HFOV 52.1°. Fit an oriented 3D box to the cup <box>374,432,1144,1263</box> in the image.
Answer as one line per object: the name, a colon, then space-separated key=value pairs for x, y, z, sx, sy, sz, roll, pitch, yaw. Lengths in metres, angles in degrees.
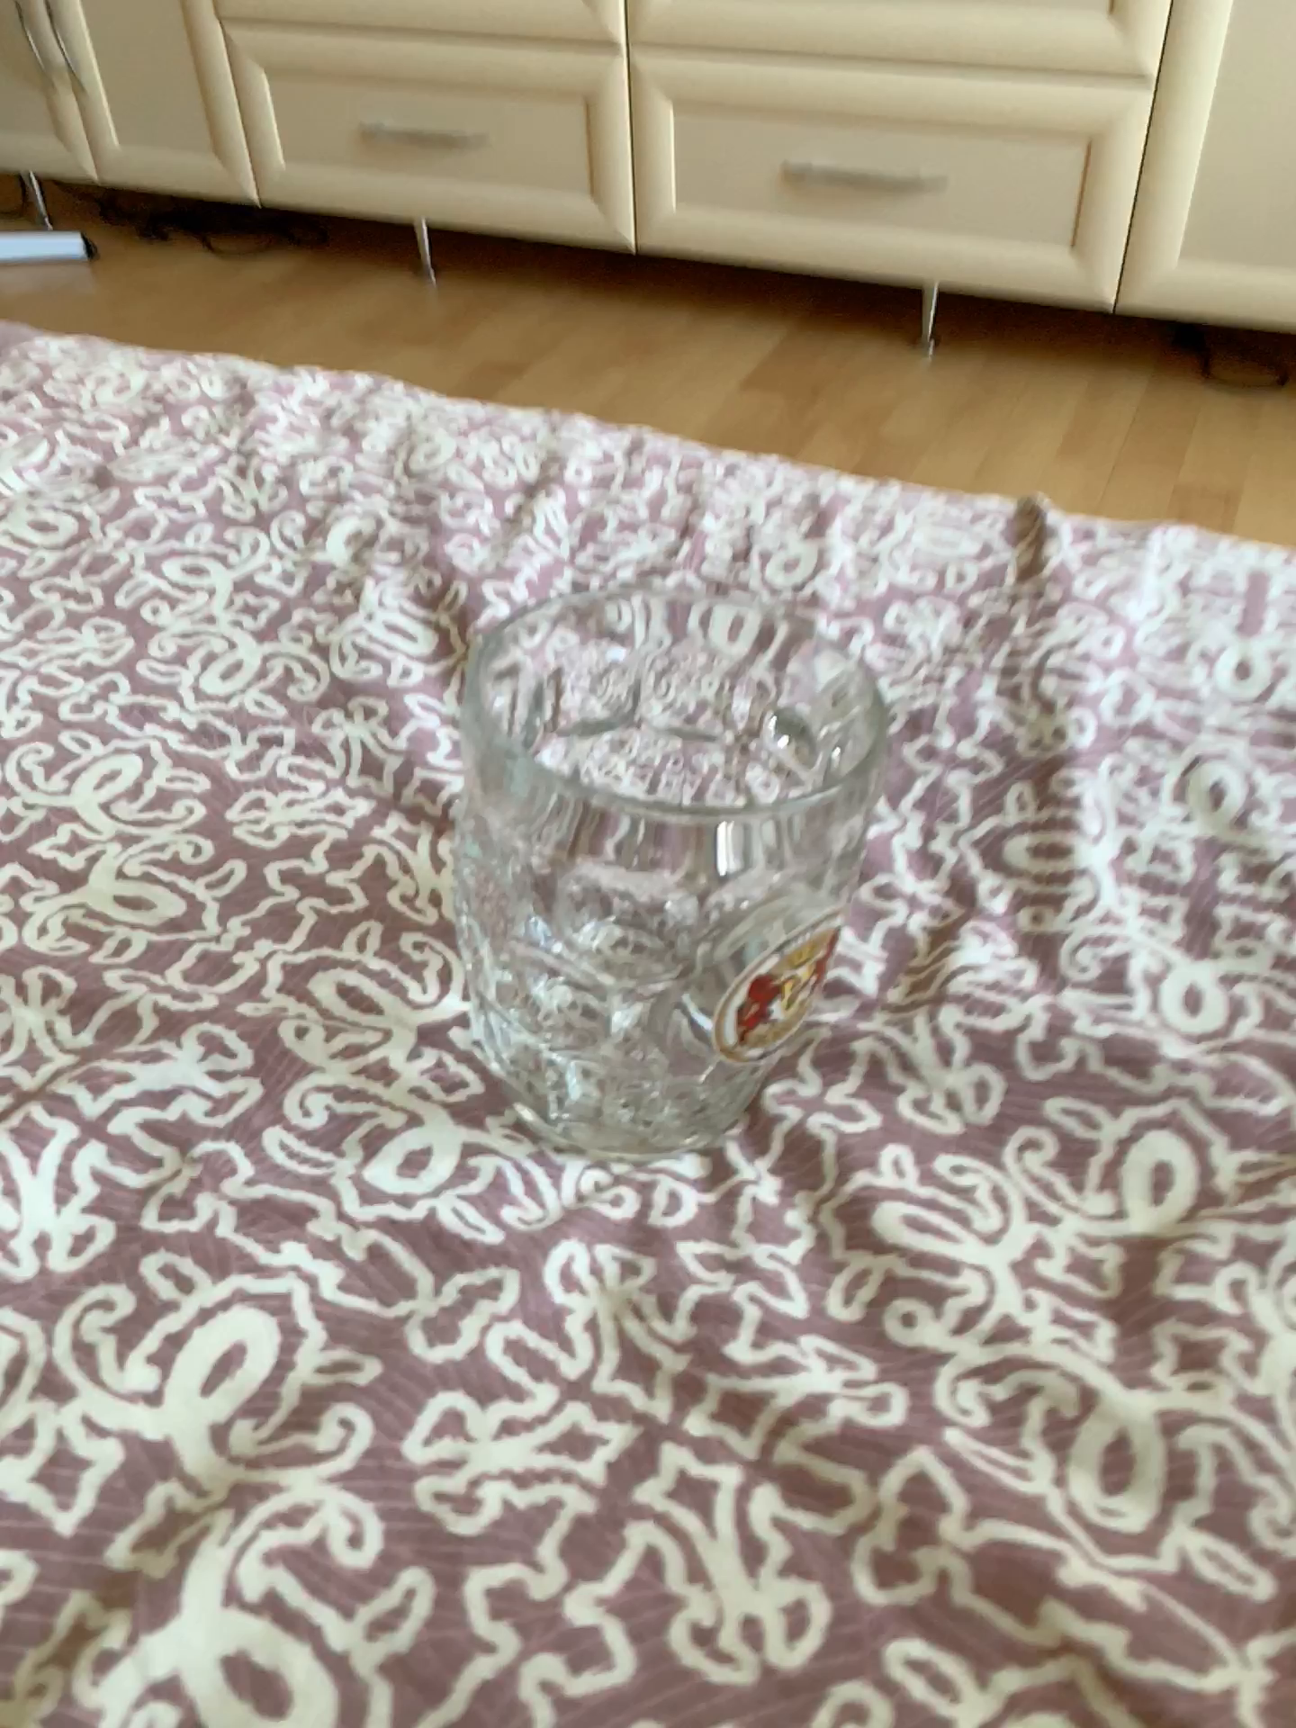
cup: x=0.025 y=-0.010 z=0.300 sx=0.090 sy=0.109 sz=0.131 roll=33 pitch=53 yaw=28
